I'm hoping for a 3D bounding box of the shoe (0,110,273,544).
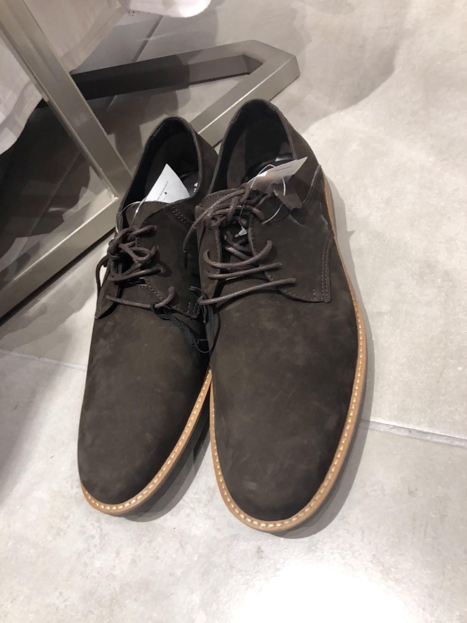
[{"bbox_3d":[-0.055,0.002,0.400,0.110,0.119,0.301,-3,57,21],"label":"shoe"}]

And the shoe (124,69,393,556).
[{"bbox_3d":[0.025,-0.009,0.351,0.110,0.119,0.301,-10,55,17],"label":"shoe"}]
